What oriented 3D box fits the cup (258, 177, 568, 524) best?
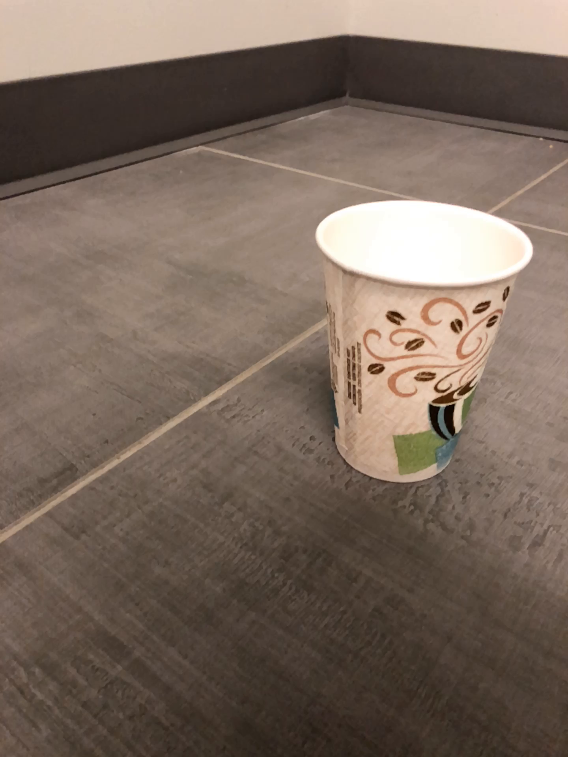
[{"bbox_3d":[0.056,-0.021,0.284,0.090,0.099,0.100,-26,42,-34],"label":"cup"}]
